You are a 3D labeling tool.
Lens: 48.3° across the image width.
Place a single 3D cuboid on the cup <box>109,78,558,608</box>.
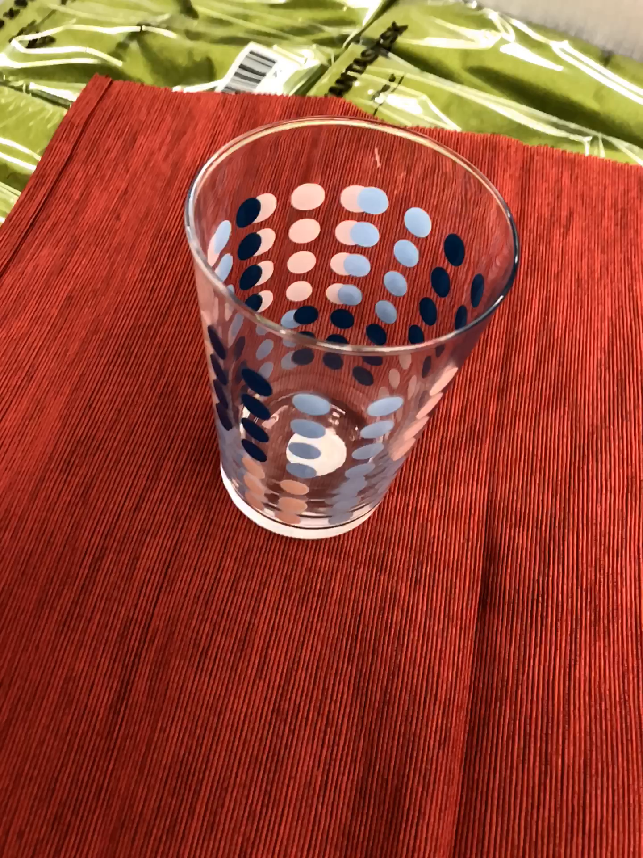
[{"bbox_3d":[0.005,-0.019,0.225,0.090,0.120,0.090,2,57,-4],"label":"cup"}]
